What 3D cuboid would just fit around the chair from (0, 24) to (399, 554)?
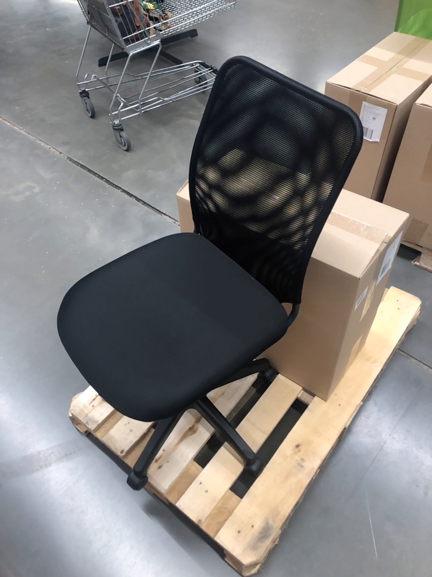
[{"bbox_3d":[-0.107,0.059,1.165,0.572,1.033,0.602,-33,54,-25],"label":"chair"}]
